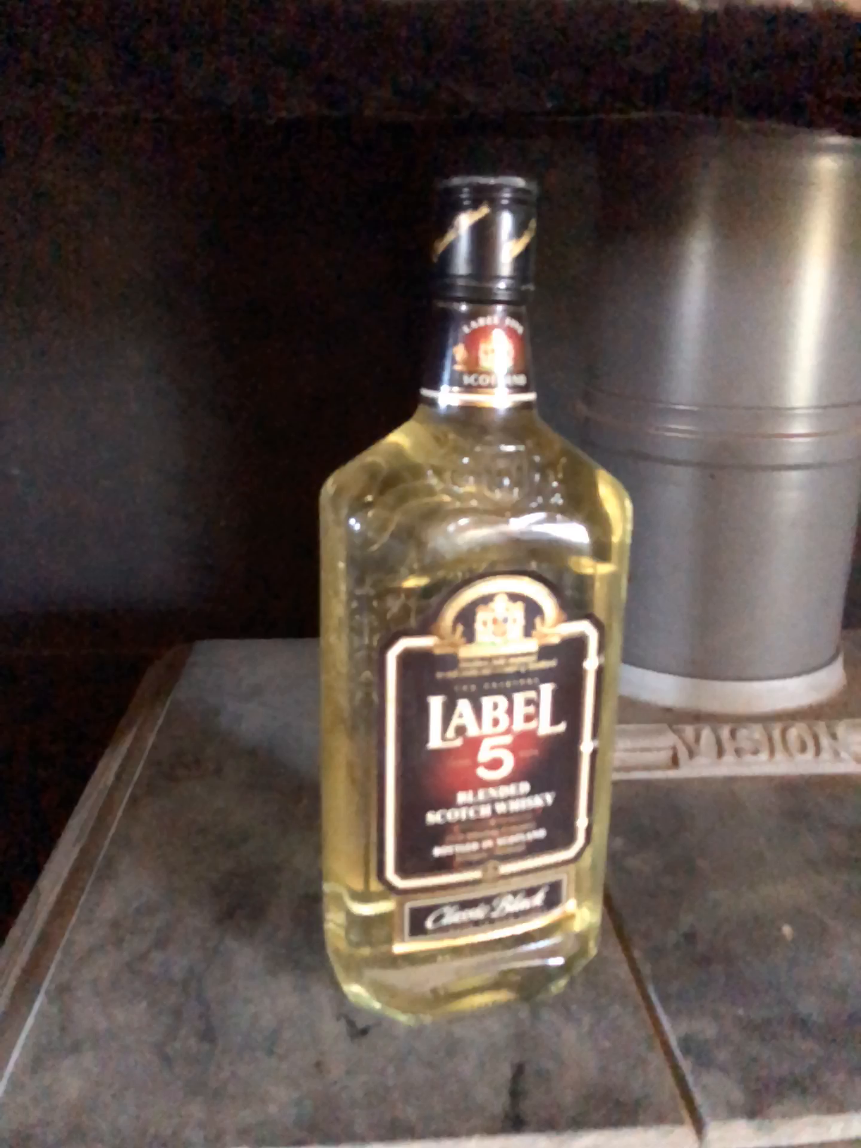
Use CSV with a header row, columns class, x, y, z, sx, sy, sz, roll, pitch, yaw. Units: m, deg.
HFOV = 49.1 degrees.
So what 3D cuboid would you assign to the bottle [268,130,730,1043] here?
class,x,y,z,sx,sy,sz,roll,pitch,yaw
bottle,0.015,0.007,0.288,0.110,0.249,0.060,-5,17,-15
